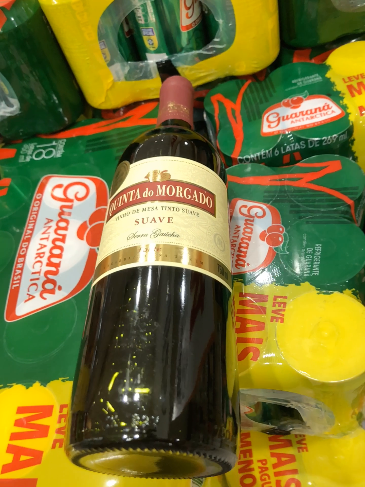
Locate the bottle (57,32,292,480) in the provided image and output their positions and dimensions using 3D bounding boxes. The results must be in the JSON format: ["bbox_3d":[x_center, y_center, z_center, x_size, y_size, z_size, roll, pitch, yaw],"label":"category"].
[{"bbox_3d":[-0.003,-0.018,0.245,0.080,0.070,0.271,3,55,-3],"label":"bottle"}]
